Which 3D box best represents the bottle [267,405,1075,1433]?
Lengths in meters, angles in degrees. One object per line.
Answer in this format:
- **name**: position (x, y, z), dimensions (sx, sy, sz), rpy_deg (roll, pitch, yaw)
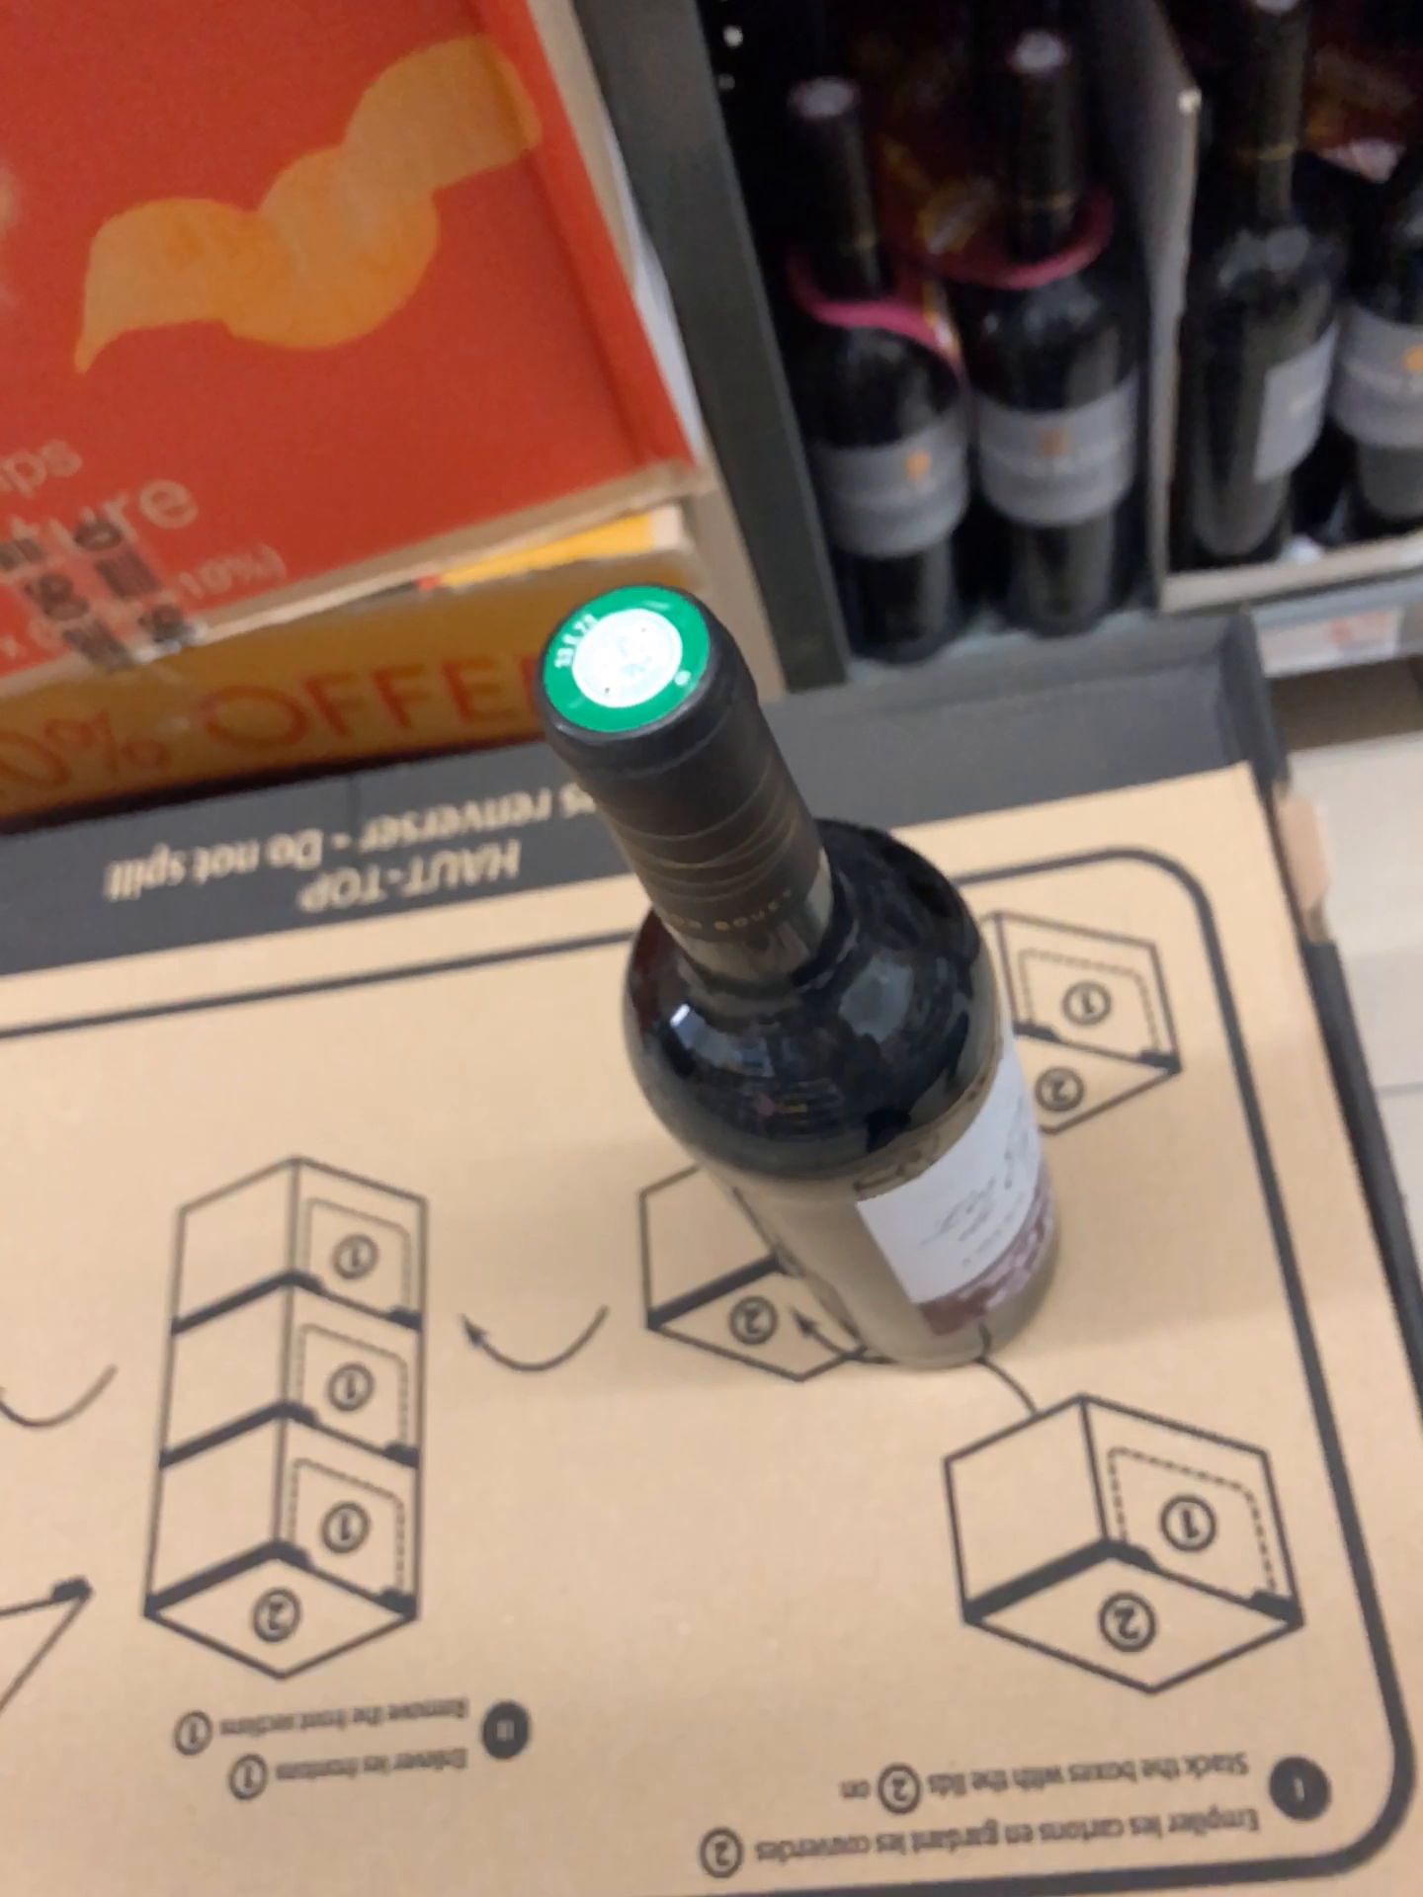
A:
- **bottle**: position (0.026, 0.029, 0.329), dimensions (0.090, 0.289, 0.090), rpy_deg (-5, 65, 11)
